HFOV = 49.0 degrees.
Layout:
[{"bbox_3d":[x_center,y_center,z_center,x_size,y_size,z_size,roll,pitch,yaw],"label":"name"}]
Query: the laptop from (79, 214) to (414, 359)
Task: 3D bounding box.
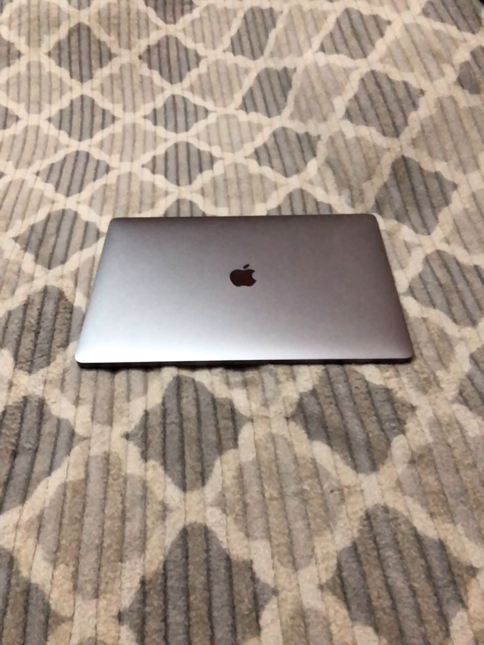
[{"bbox_3d":[0.002,-0.055,0.653,0.358,0.007,0.247,-1,48,1],"label":"laptop"}]
